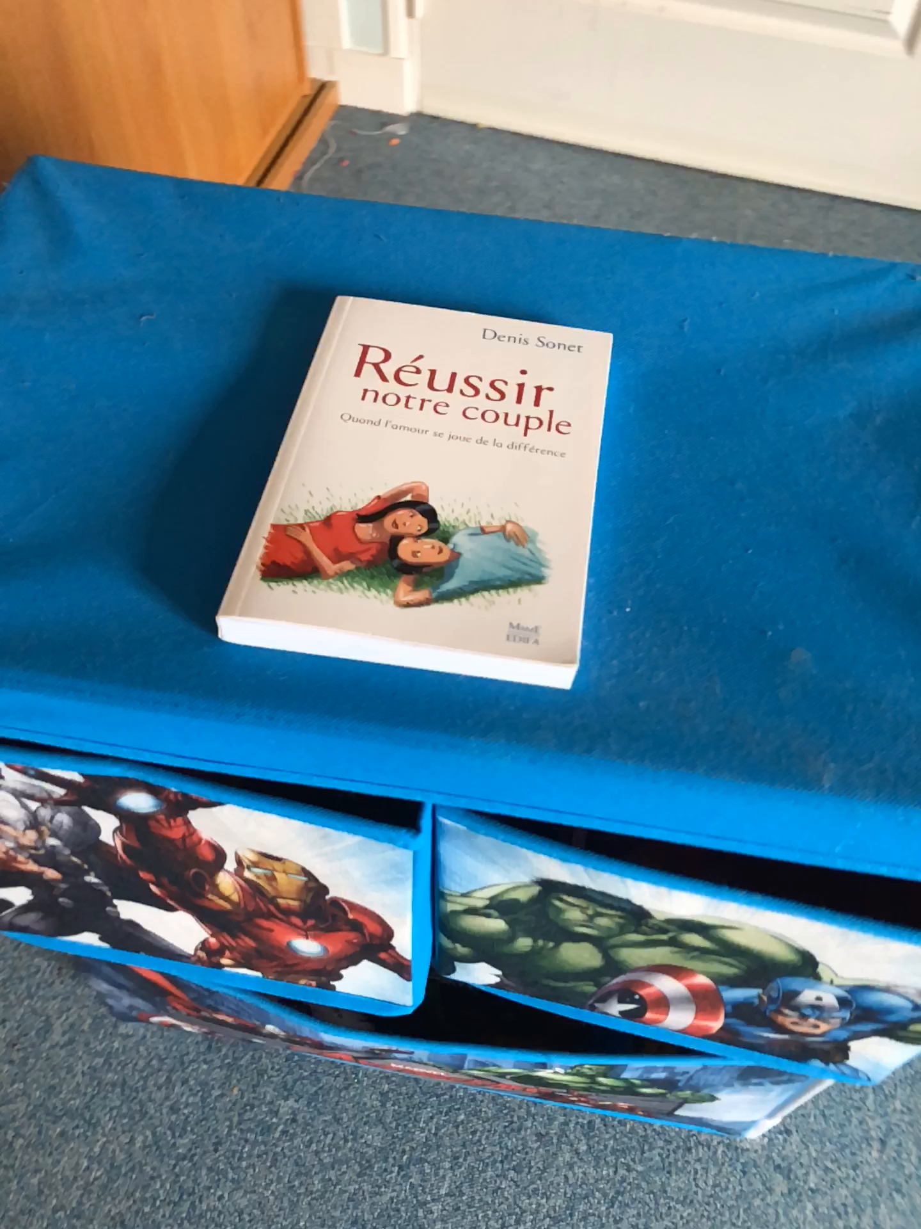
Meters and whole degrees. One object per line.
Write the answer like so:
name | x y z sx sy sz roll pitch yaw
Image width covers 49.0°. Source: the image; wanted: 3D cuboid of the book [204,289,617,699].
book | -0.010 -0.059 0.411 0.134 0.016 0.187 9 55 3
